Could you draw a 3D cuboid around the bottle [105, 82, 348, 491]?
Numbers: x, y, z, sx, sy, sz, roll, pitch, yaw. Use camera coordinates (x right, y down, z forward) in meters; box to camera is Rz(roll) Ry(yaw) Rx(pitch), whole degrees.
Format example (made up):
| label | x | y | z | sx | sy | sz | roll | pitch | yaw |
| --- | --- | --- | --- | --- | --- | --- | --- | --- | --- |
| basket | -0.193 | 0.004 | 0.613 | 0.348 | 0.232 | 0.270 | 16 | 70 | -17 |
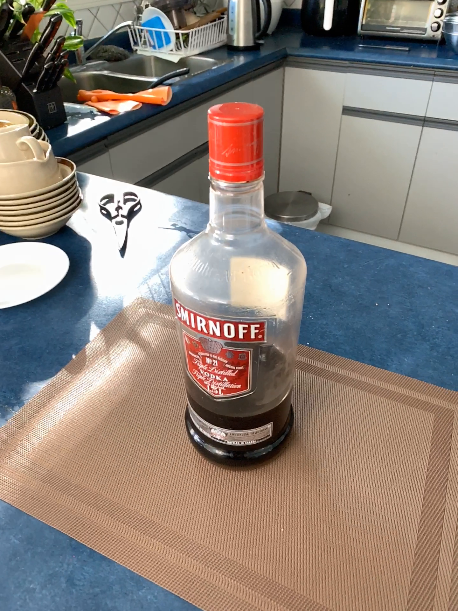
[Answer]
| label | x | y | z | sx | sy | sz | roll | pitch | yaw |
| --- | --- | --- | --- | --- | --- | --- | --- | --- | --- |
| bottle | 0.007 | -0.001 | 0.398 | 0.120 | 0.317 | 0.111 | -1 | 37 | 1 |
